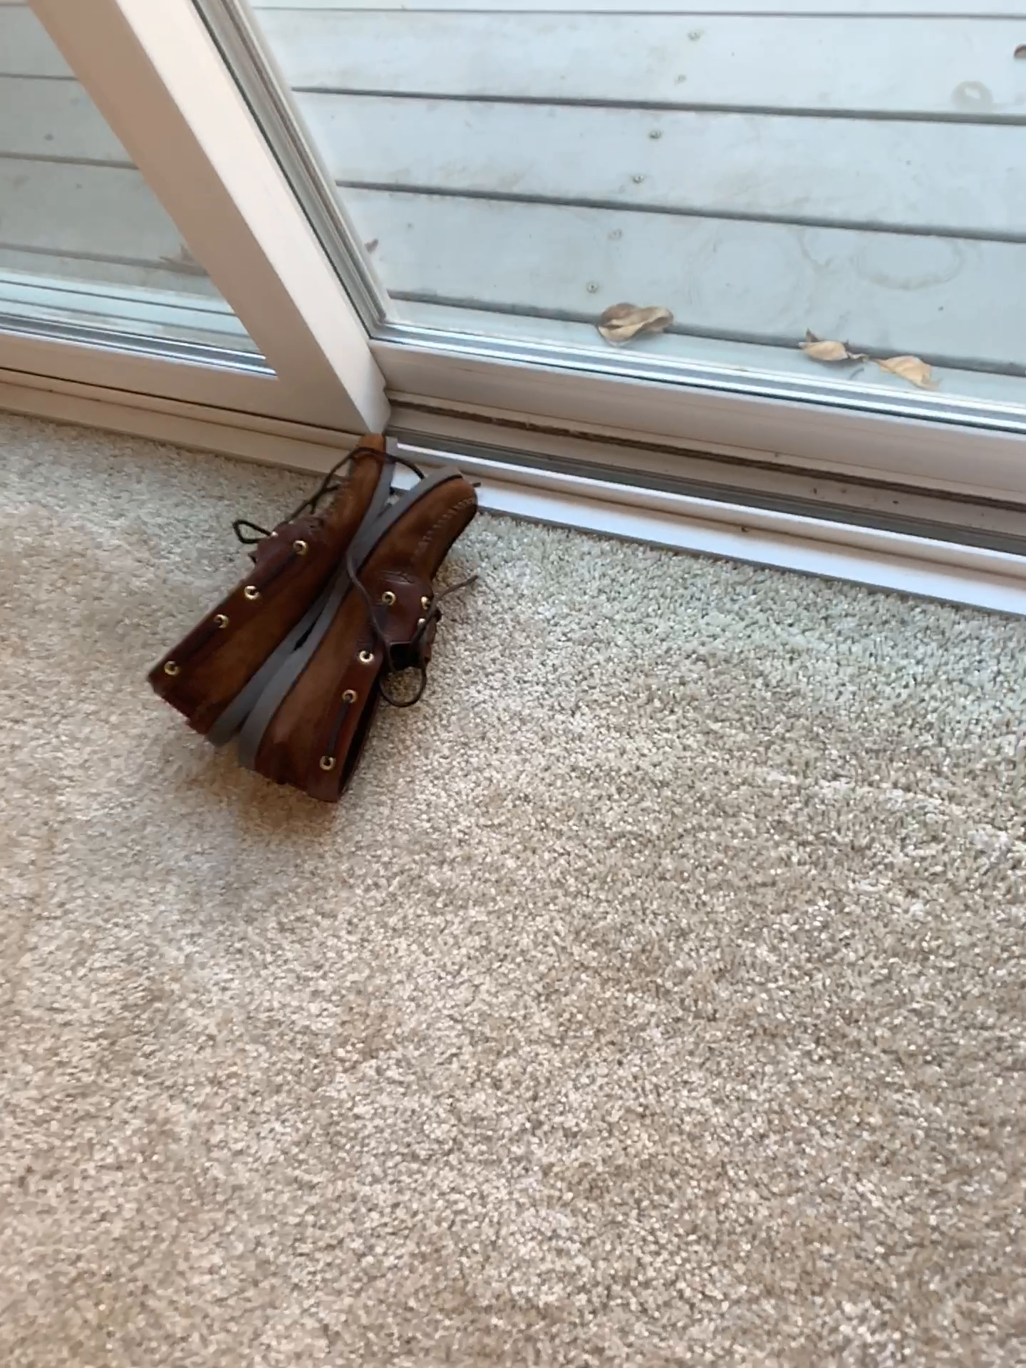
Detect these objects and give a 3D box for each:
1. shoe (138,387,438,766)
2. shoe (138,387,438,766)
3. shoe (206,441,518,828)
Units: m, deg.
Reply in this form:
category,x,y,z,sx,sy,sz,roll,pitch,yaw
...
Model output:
category,x,y,z,sx,sy,sz,roll,pitch,yaw
shoe,-0.172,-0.085,0.850,0.090,0.110,0.280,29,75,3
shoe,-0.172,-0.085,0.850,0.090,0.110,0.280,29,75,3
shoe,-0.106,-0.036,0.811,0.090,0.110,0.270,29,76,12
